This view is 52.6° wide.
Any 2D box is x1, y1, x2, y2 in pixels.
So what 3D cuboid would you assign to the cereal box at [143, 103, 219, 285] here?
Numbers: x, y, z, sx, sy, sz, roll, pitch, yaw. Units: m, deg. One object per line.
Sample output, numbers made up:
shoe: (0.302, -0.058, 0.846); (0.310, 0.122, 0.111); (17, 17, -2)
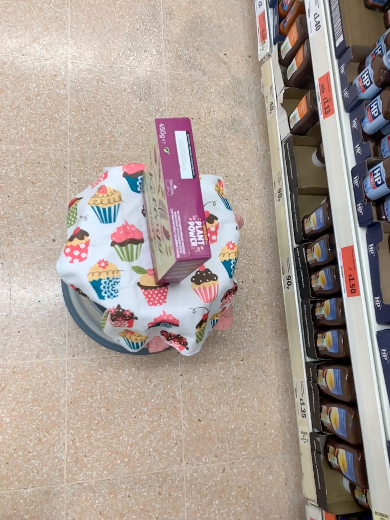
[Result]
cereal box: (-0.034, -0.080, 0.613); (0.050, 0.249, 0.200); (-5, 79, -13)
